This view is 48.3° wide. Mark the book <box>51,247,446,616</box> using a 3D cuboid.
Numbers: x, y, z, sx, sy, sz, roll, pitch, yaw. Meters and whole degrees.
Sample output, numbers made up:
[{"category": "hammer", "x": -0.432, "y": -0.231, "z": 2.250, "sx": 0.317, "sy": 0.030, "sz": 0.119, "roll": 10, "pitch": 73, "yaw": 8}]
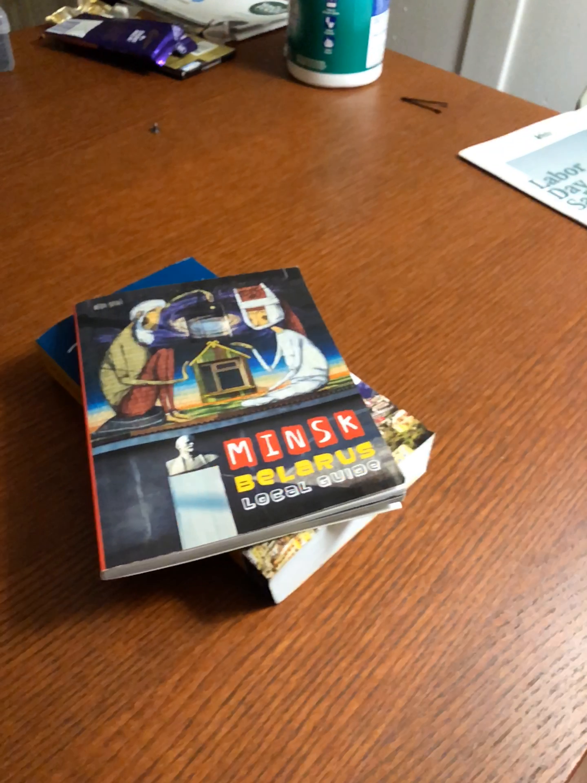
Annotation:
[{"category": "book", "x": -0.036, "y": 0.000, "z": 0.329, "sx": 0.150, "sy": 0.020, "sz": 0.191, "roll": -12, "pitch": 48, "yaw": -14}]

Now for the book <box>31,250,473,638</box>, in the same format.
[{"category": "book", "x": -0.031, "y": 0.009, "z": 0.374, "sx": 0.130, "sy": 0.040, "sz": 0.221, "roll": -34, "pitch": 56, "yaw": -30}]
